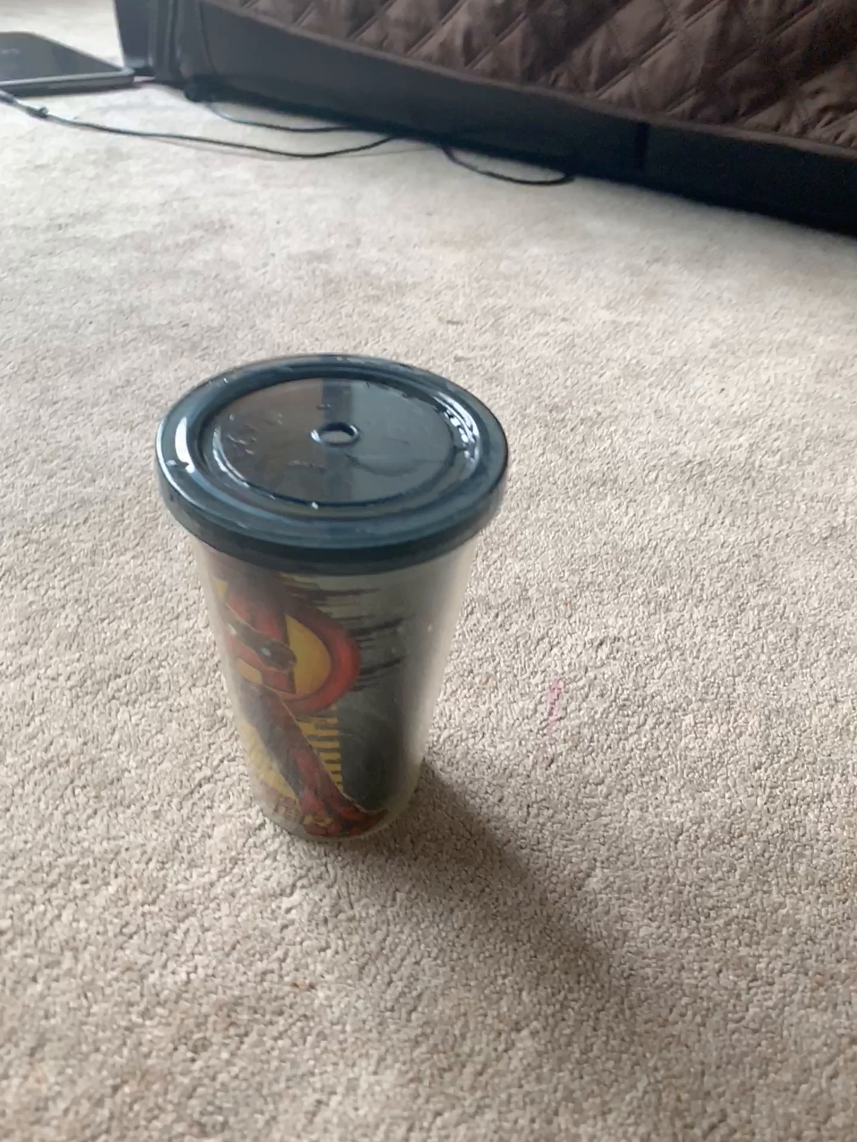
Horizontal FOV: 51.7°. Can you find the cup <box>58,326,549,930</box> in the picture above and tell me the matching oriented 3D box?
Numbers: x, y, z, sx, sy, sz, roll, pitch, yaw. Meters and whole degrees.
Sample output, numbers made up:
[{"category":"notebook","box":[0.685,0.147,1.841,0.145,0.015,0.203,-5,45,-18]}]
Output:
[{"category":"cup","box":[-0.030,0.016,0.278,0.100,0.139,0.101,3,38,-3]}]
